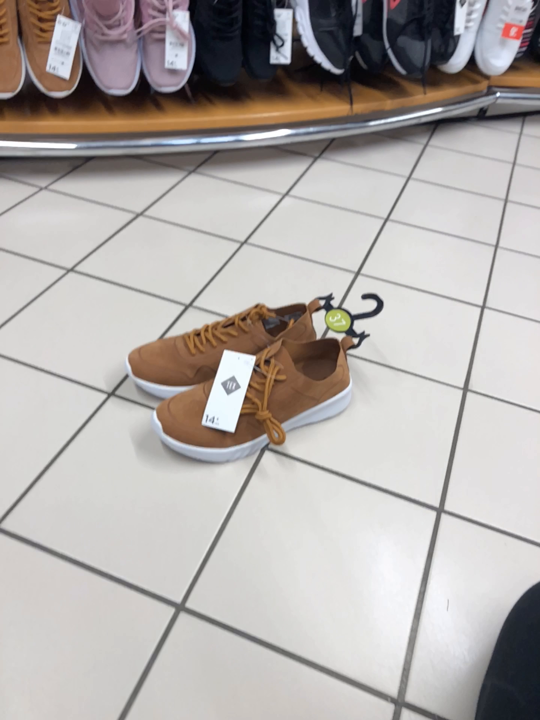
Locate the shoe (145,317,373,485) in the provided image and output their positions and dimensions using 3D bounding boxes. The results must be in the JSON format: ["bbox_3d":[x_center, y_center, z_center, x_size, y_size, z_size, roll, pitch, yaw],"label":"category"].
[{"bbox_3d":[-0.013,0.041,0.673,0.231,0.099,0.090,-15,45,-22],"label":"shoe"}]

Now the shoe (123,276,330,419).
[{"bbox_3d":[-0.053,-0.020,0.717,0.221,0.099,0.090,-12,44,-19],"label":"shoe"}]
